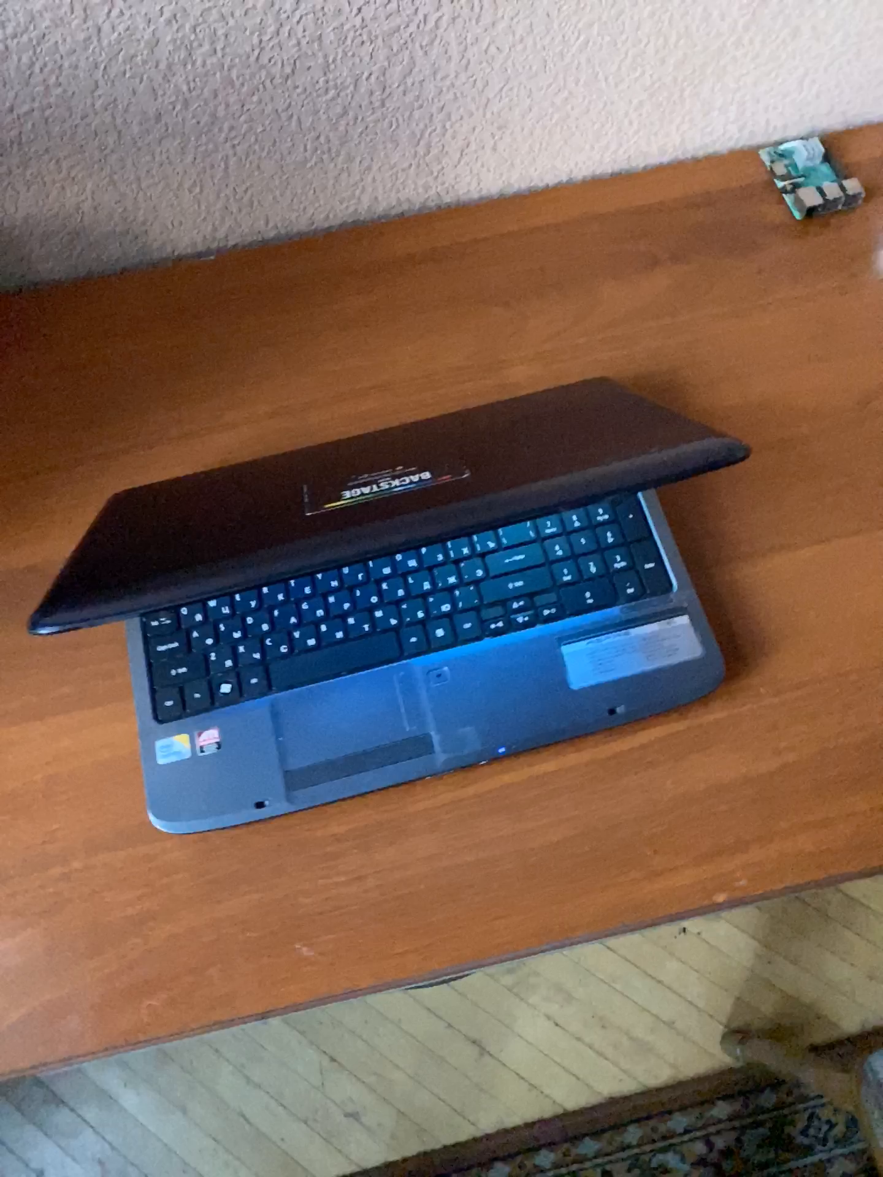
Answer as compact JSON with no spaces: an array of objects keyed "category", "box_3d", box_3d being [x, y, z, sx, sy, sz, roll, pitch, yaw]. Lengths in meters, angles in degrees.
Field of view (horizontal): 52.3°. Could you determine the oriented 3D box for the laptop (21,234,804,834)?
[{"category":"laptop","box_3d":[-0.029,-0.028,0.561,0.380,0.163,0.241,-14,67,-3]}]
